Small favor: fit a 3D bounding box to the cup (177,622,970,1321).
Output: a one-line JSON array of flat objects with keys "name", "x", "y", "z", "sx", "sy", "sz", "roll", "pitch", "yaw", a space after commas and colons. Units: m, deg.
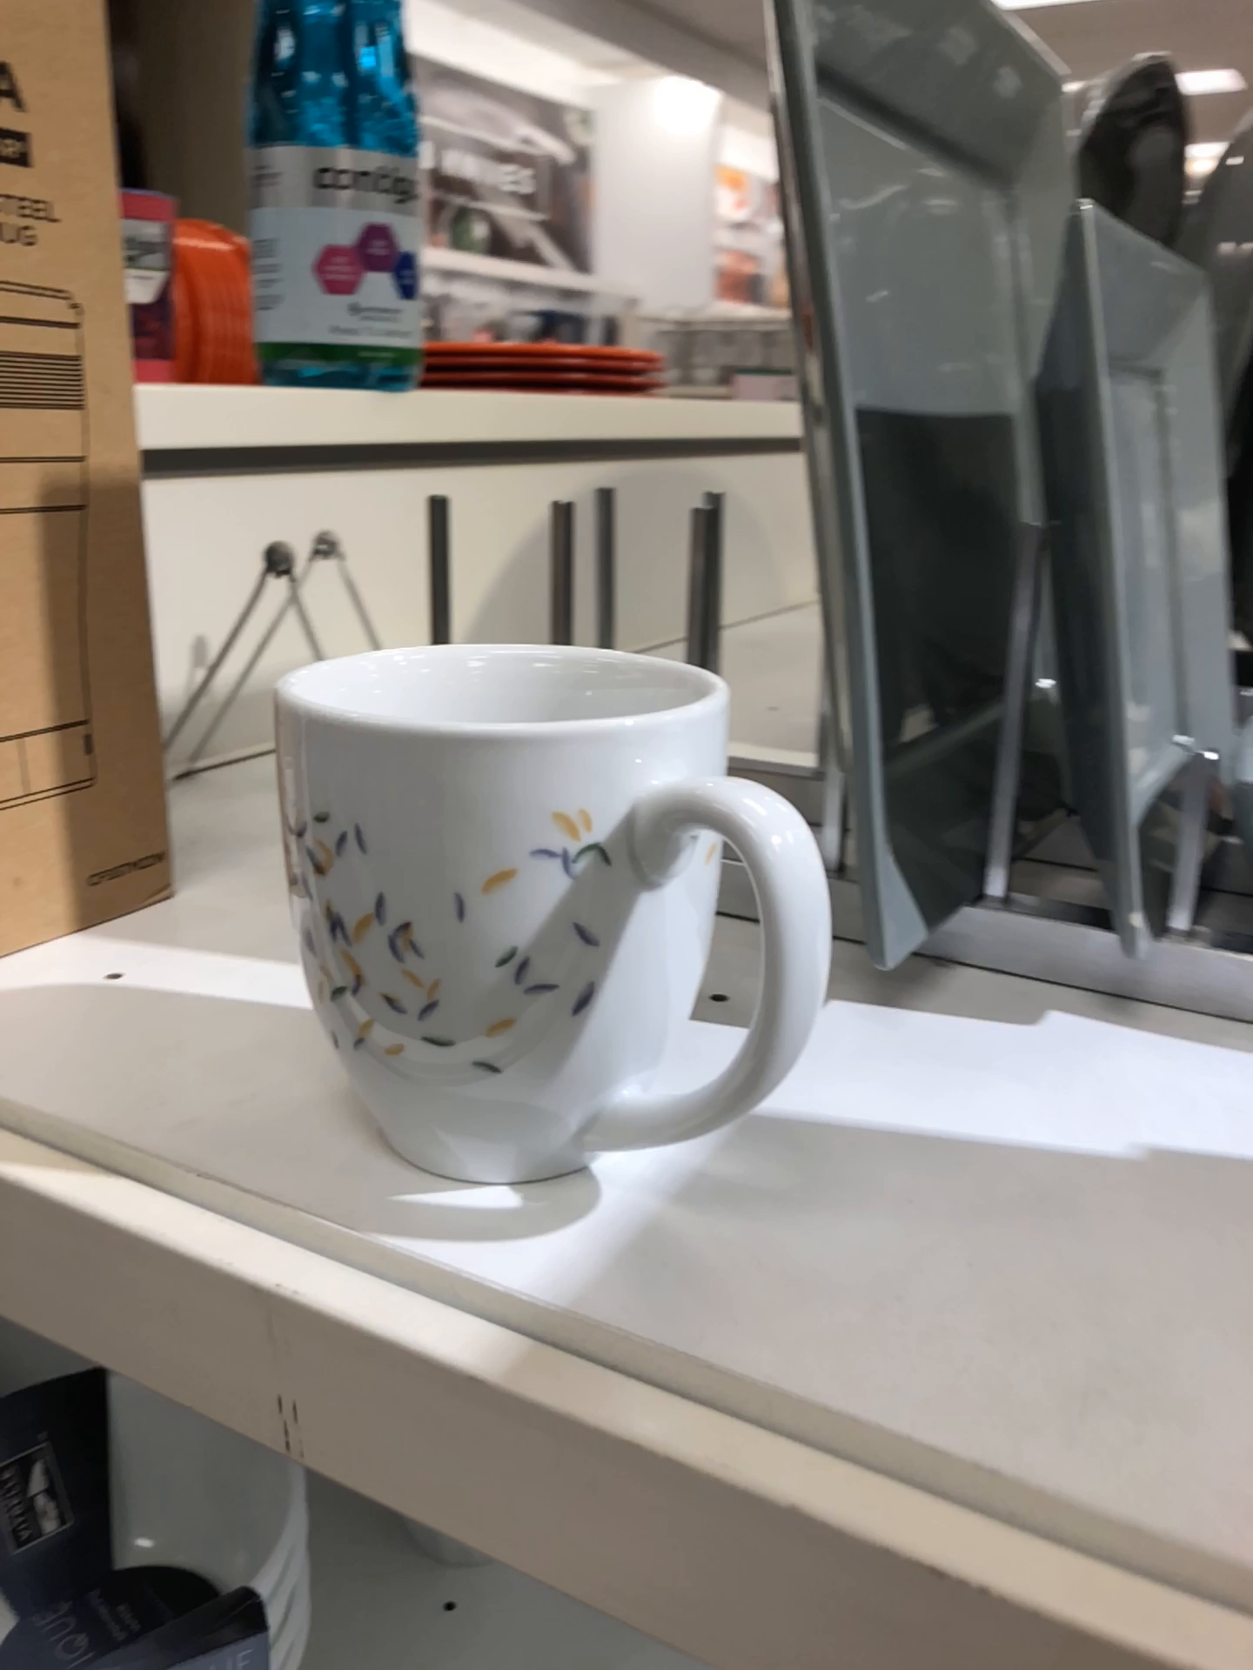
[{"name": "cup", "x": -0.013, "y": 0.013, "z": 0.288, "sx": 0.128, "sy": 0.091, "sz": 0.093, "roll": 15, "pitch": 21, "yaw": 38}]
